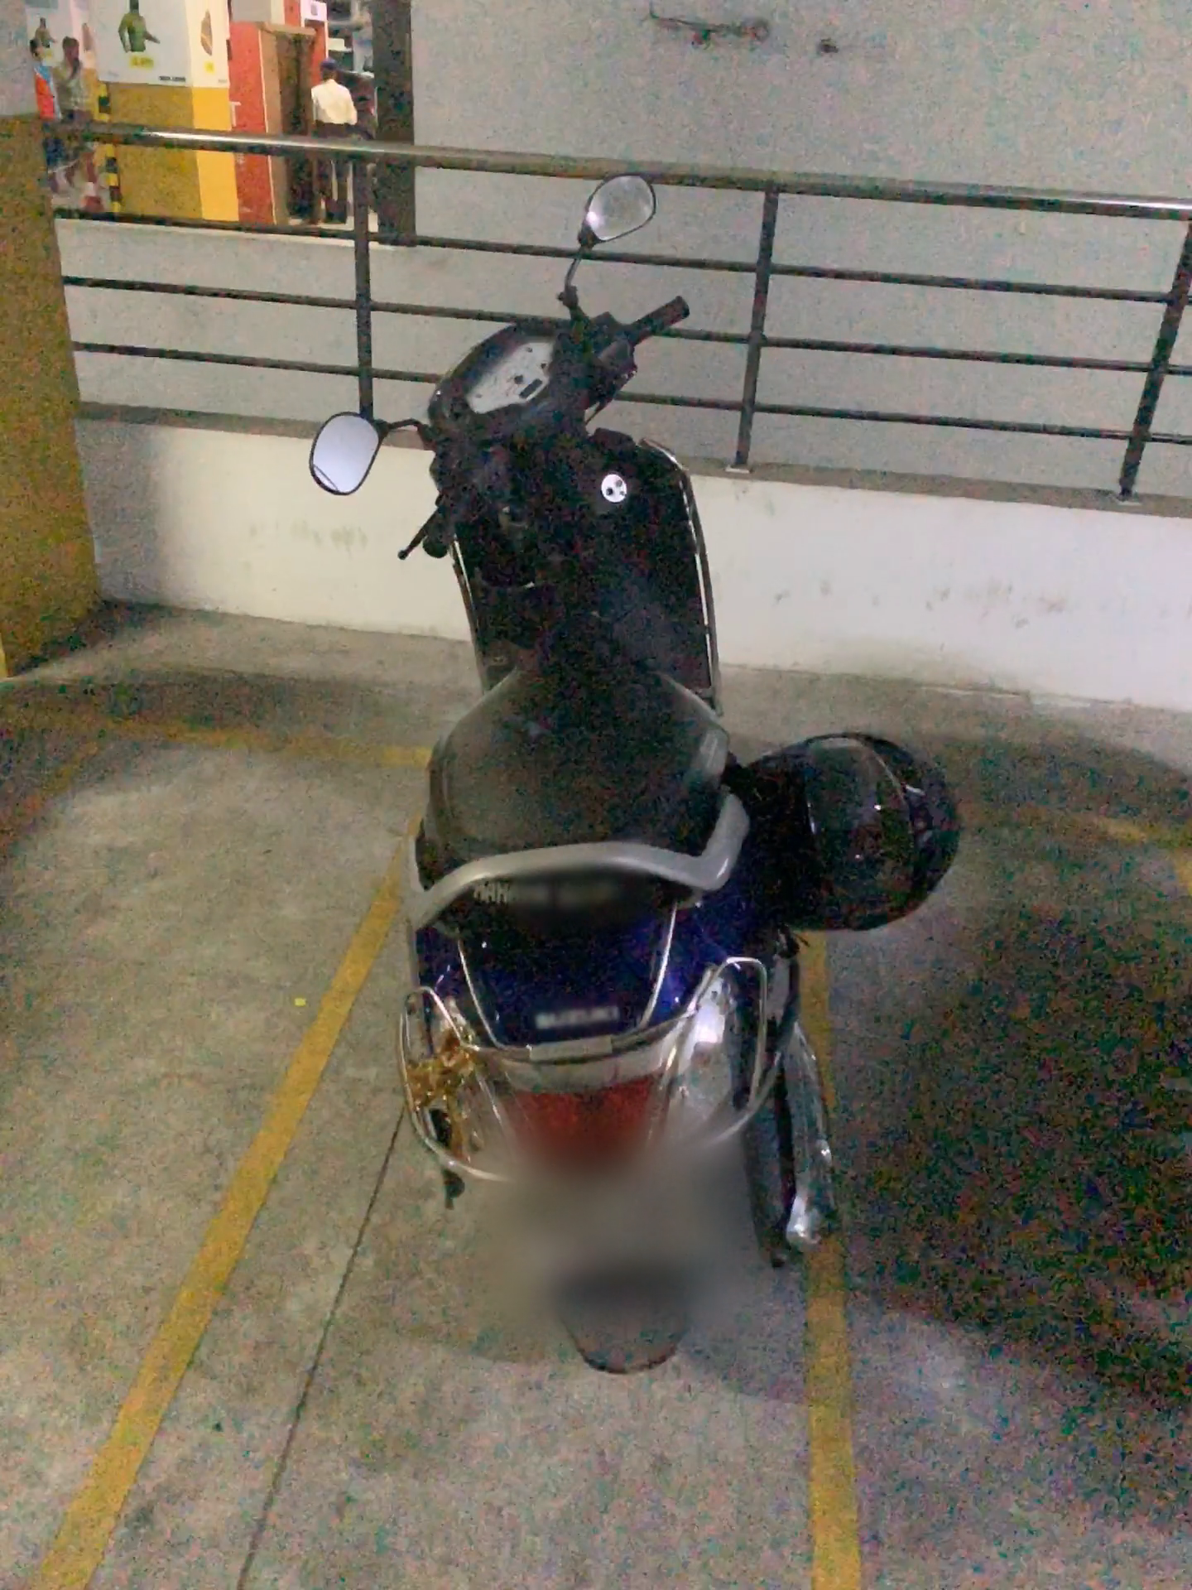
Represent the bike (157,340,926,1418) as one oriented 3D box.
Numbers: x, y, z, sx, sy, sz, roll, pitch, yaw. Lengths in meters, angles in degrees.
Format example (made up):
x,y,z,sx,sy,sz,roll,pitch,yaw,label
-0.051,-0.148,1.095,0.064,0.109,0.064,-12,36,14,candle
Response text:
x,y,z,sx,sy,sz,roll,pitch,yaw,label
-0.142,-0.031,1.931,0.622,1.157,1.482,0,27,-6,bike
